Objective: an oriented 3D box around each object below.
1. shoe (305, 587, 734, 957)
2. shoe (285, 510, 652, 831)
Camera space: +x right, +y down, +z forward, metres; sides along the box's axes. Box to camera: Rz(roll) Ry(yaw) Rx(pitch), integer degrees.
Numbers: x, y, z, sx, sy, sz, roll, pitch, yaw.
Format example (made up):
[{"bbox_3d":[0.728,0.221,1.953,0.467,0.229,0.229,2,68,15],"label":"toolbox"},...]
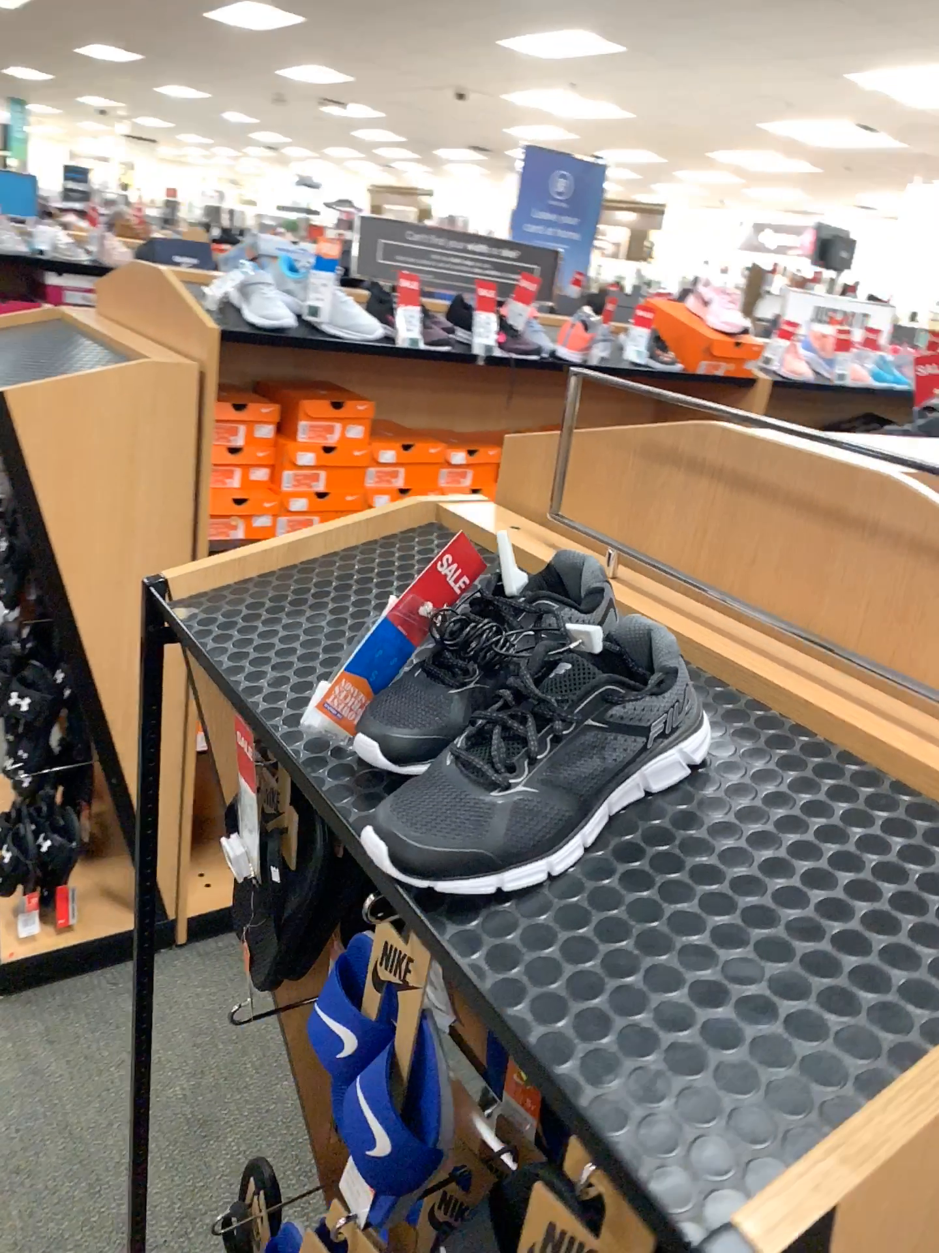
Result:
[{"bbox_3d":[0.040,0.073,0.586,0.245,0.090,0.100,-28,28,-31],"label":"shoe"},{"bbox_3d":[0.010,0.019,0.671,0.245,0.089,0.100,-31,40,-31],"label":"shoe"}]
